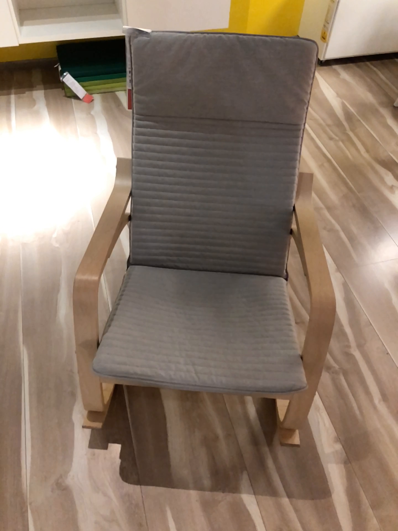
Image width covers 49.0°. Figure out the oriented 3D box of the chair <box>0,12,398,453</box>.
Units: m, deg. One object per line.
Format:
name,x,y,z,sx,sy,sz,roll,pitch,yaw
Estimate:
chair,0.026,-0.019,1.204,0.750,0.944,0.704,4,51,1
